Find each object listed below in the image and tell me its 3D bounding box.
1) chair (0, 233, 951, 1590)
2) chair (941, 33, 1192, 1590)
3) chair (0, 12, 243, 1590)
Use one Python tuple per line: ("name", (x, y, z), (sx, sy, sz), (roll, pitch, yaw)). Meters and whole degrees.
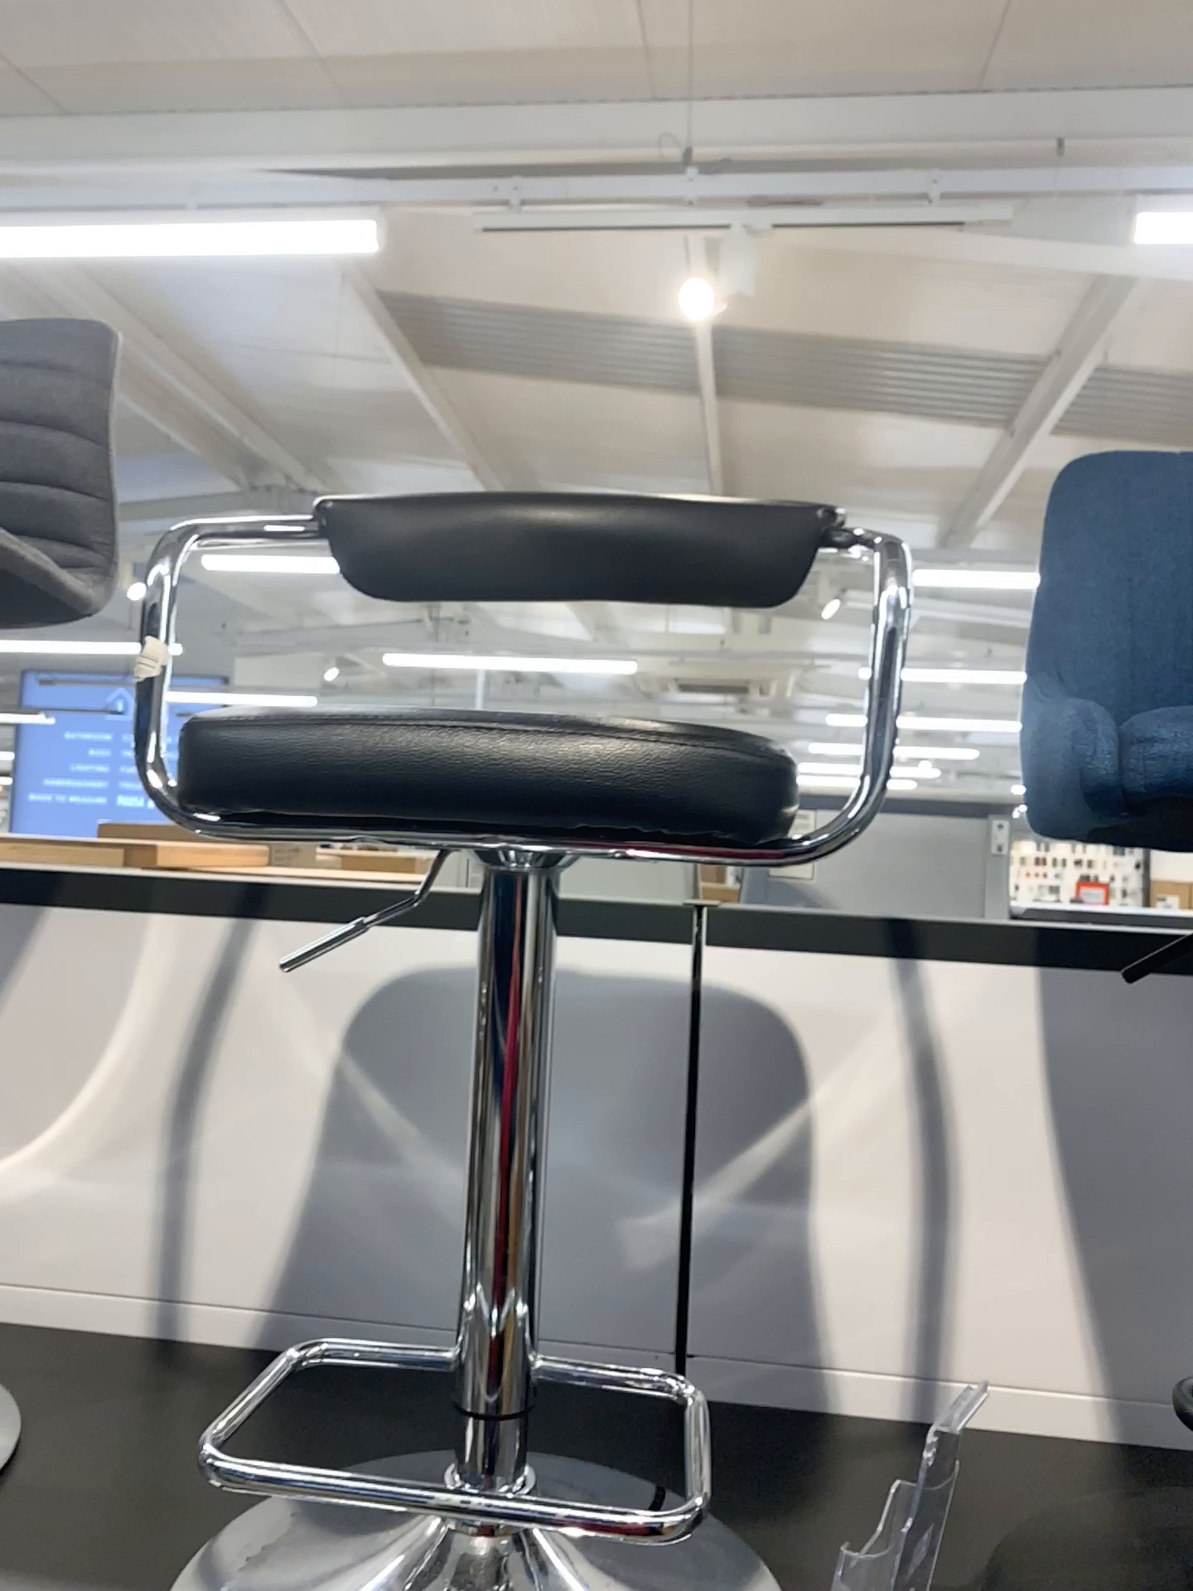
("chair", (-0.070, 0.129, 0.885), (0.511, 0.855, 0.466), (3, -4, 4))
("chair", (0.556, 0.119, 0.848), (0.521, 0.955, 0.535), (2, -4, 9))
("chair", (-0.668, 0.009, 1.033), (0.511, 1.065, 0.466), (3, -4, 4))
